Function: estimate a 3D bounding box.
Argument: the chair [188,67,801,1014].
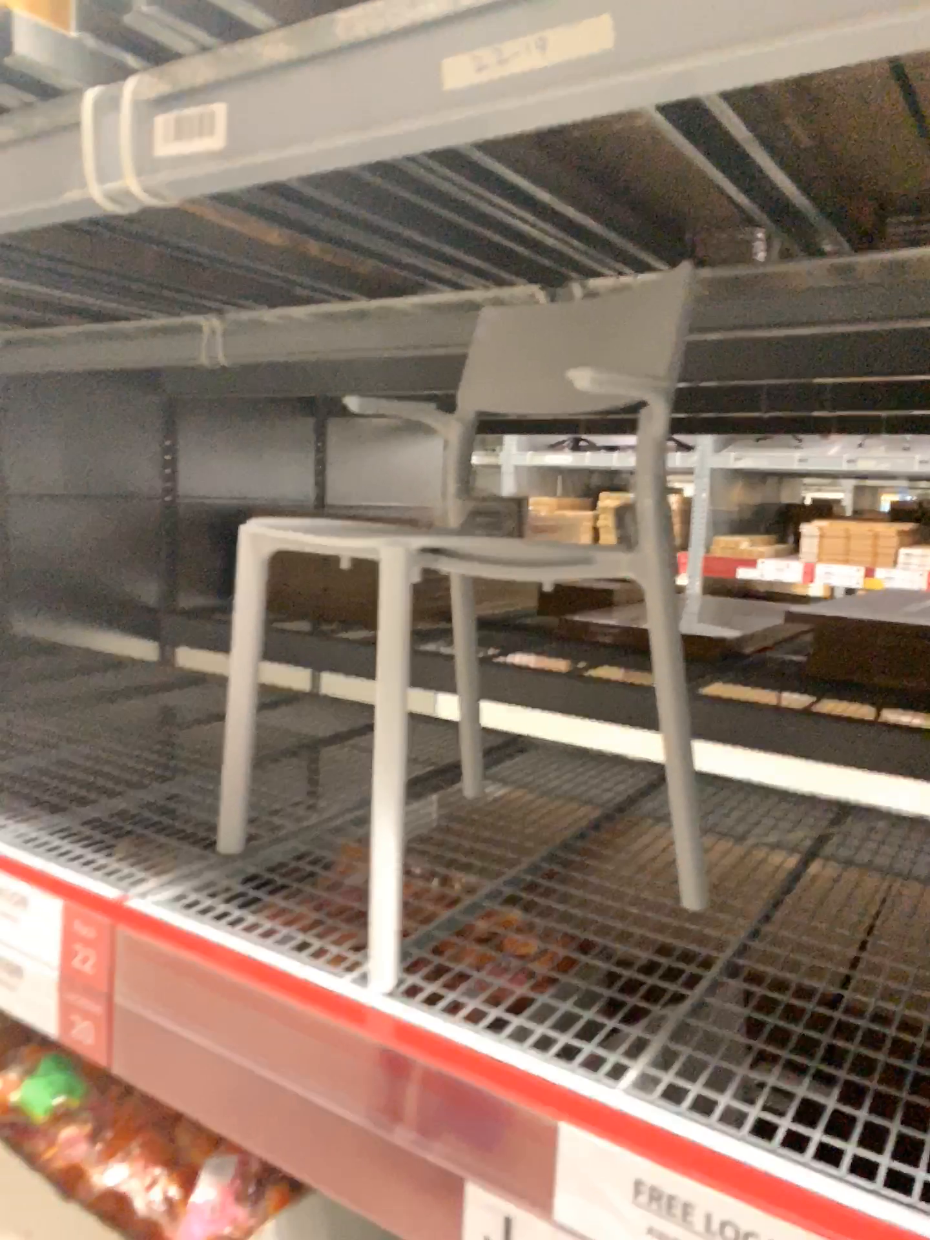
[{"bbox_3d":[0.013,-0.089,1.161,0.550,0.819,0.481,-3,9,-37],"label":"chair"}]
